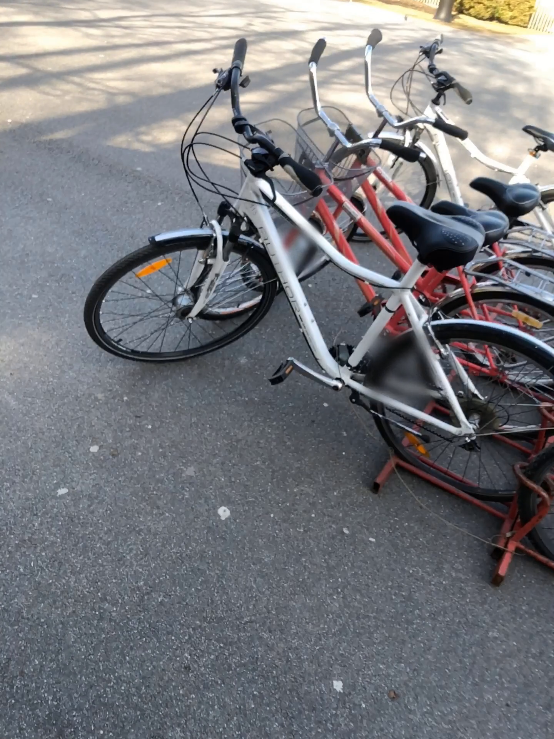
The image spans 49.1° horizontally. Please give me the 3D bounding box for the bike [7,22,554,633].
[{"bbox_3d":[0.187,-0.137,1.729,1.600,1.163,0.622,18,34,8],"label":"bike"}]
